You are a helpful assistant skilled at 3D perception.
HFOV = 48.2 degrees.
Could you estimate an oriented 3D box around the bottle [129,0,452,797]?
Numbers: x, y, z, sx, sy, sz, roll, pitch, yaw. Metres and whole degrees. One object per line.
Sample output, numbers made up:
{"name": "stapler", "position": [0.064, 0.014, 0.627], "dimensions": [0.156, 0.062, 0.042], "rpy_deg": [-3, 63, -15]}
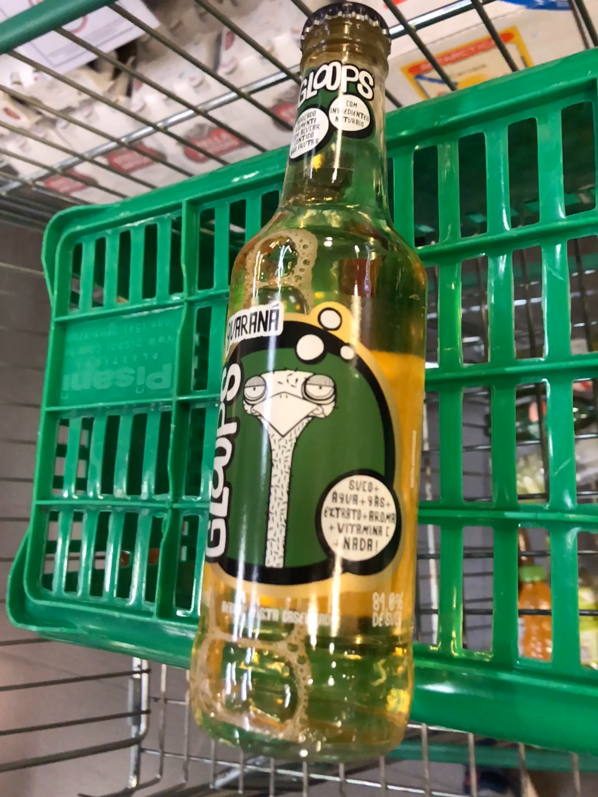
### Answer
{"name": "bottle", "position": [0.003, -0.021, 0.188], "dimensions": [0.060, 0.050, 0.220], "rpy_deg": [-3, 78, 34]}
